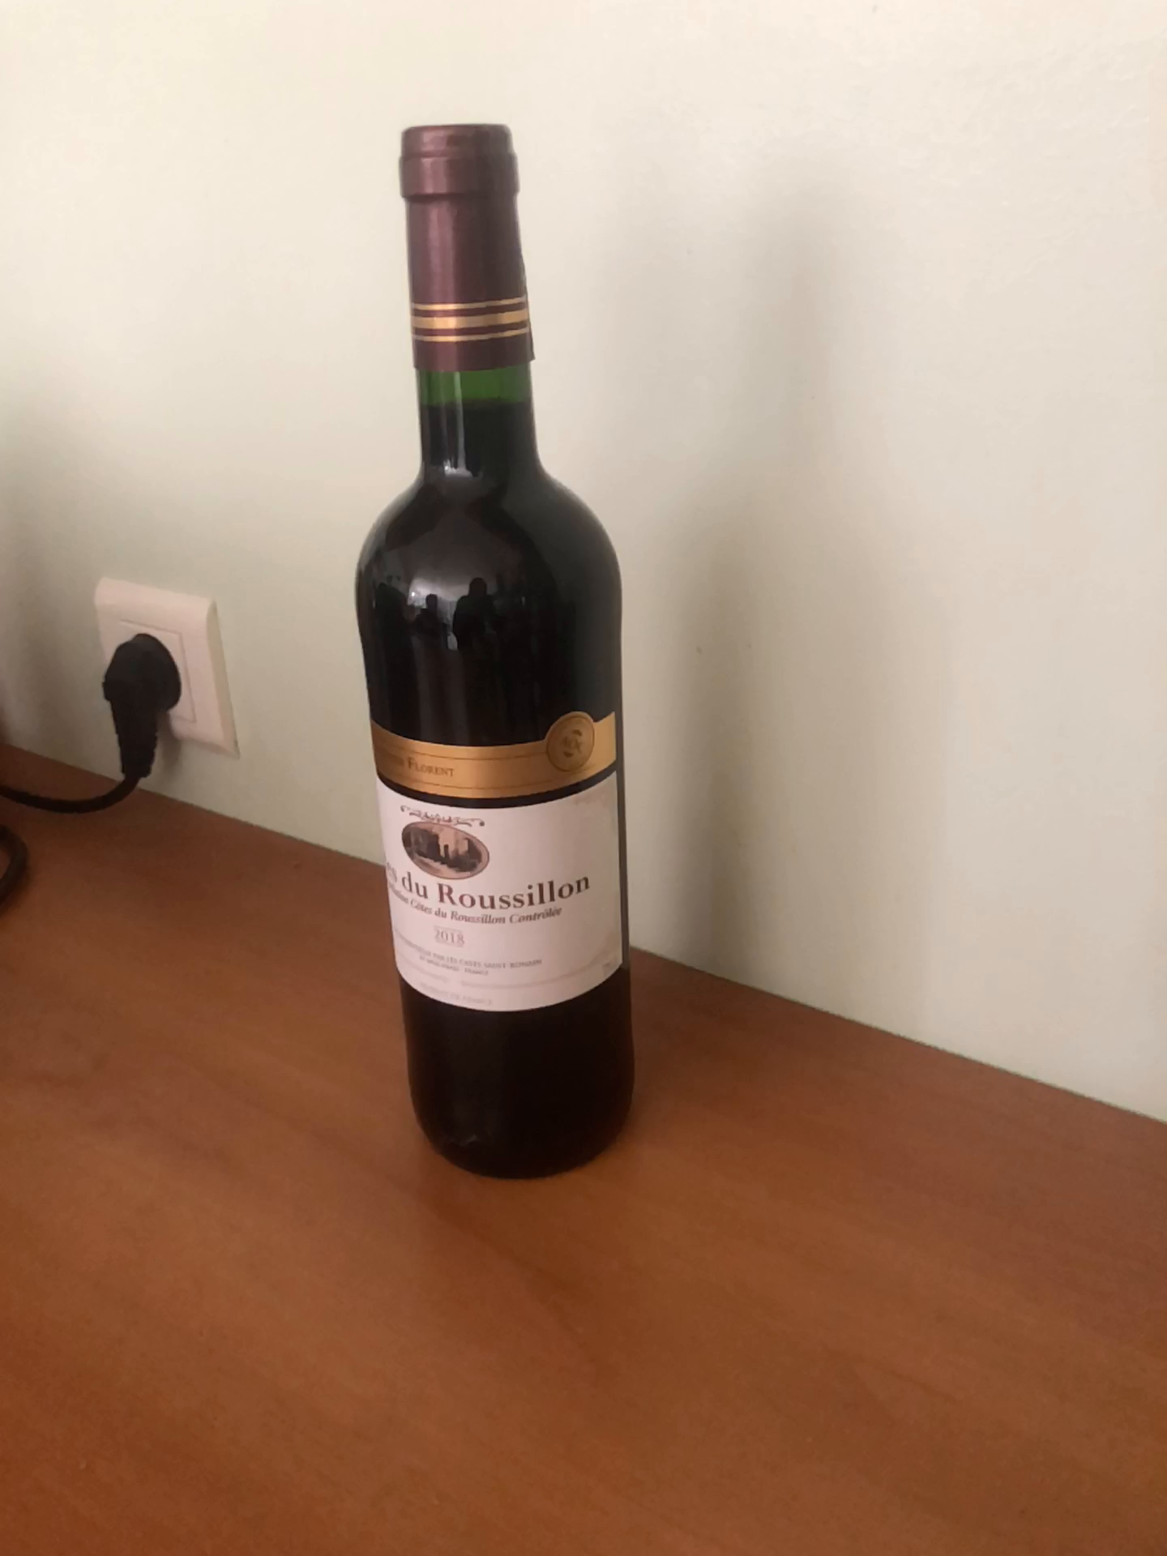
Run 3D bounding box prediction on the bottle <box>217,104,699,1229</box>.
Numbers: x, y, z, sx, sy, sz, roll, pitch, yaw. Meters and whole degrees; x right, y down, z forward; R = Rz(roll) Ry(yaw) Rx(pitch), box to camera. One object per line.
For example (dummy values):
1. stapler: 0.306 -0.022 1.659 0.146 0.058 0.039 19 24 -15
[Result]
1. bottle: -0.023 -0.024 0.360 0.080 0.288 0.080 -2 25 1
